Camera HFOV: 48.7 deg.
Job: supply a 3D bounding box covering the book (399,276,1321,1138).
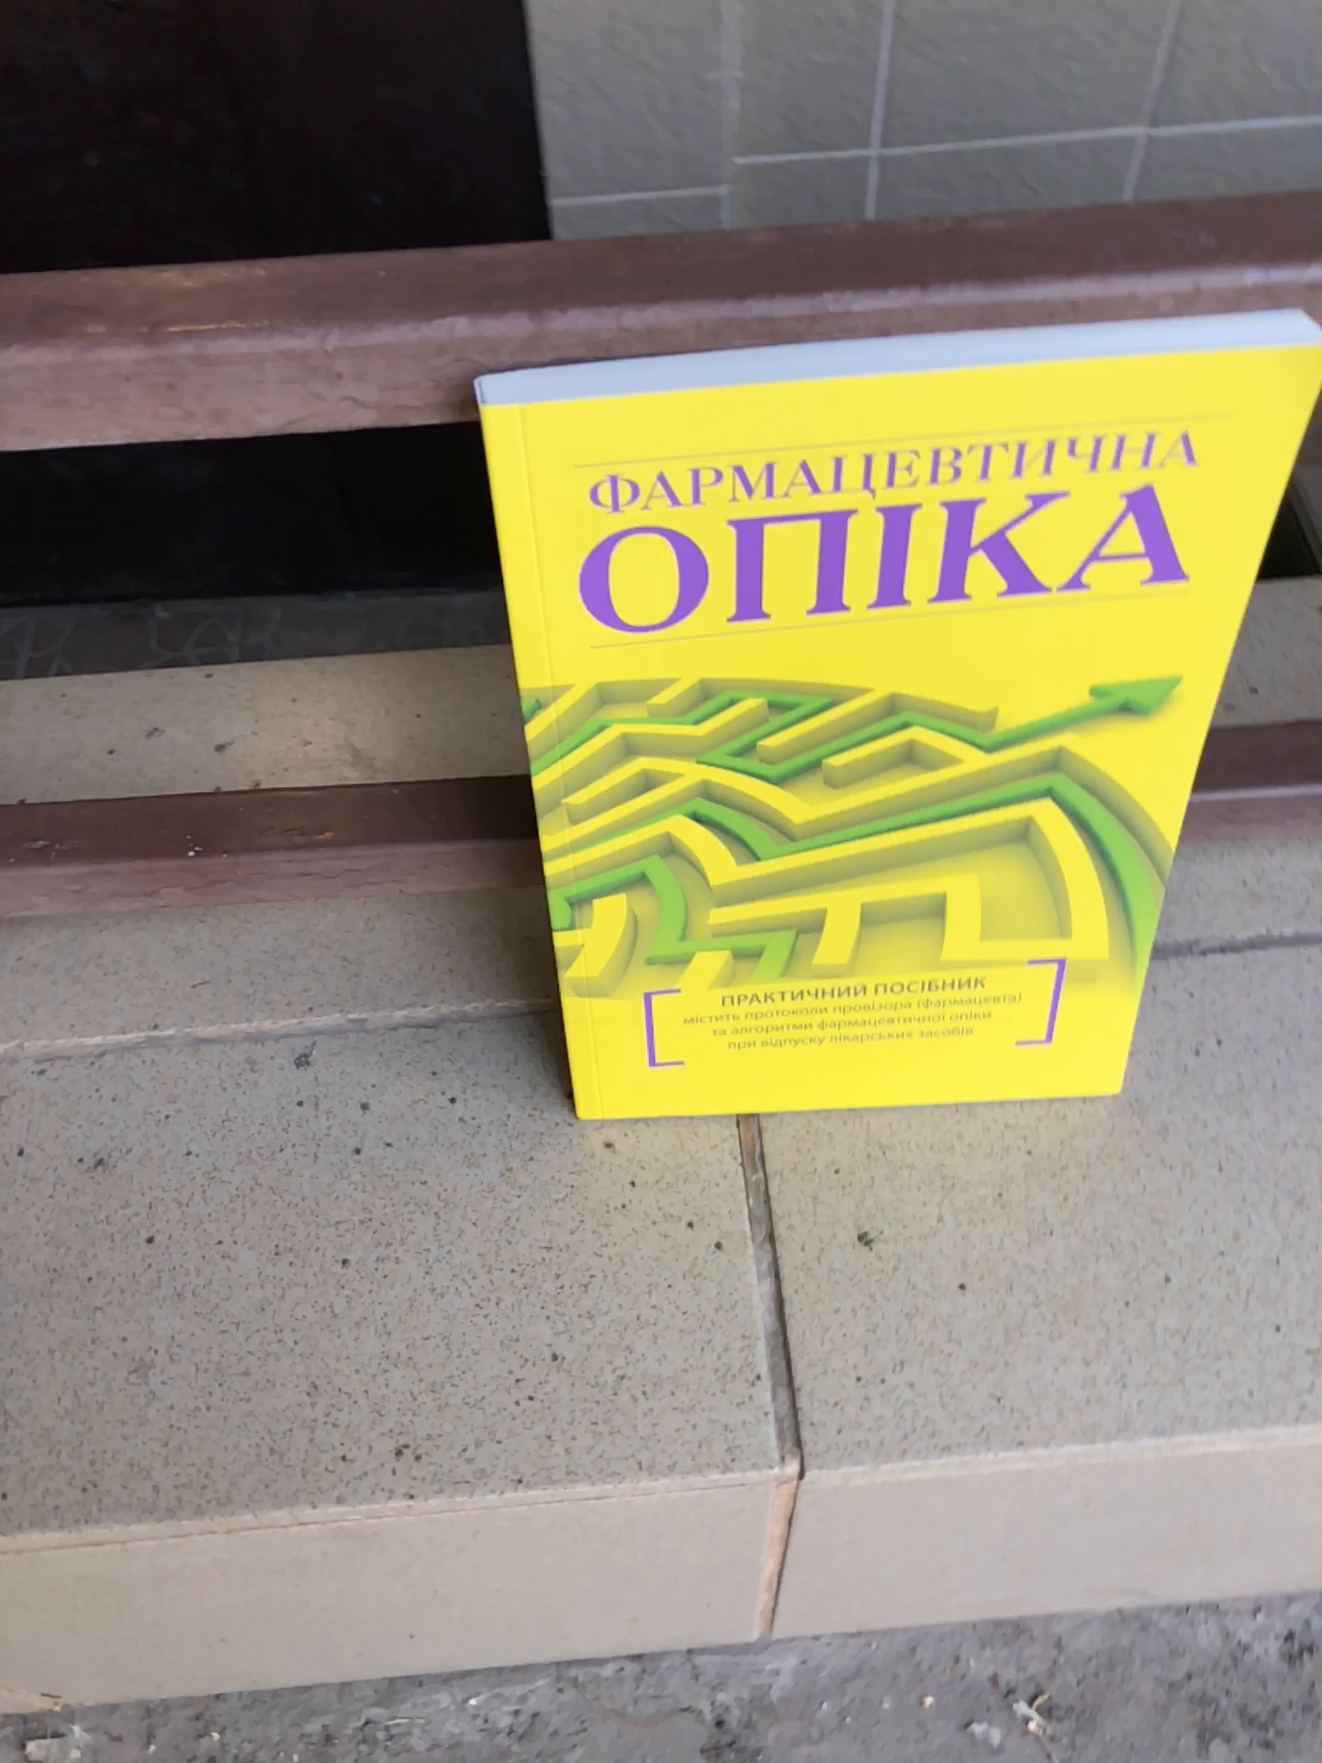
[{"bbox_3d":[0.047,-0.021,0.364,0.180,0.239,0.030,-4,47,0],"label":"book"}]
